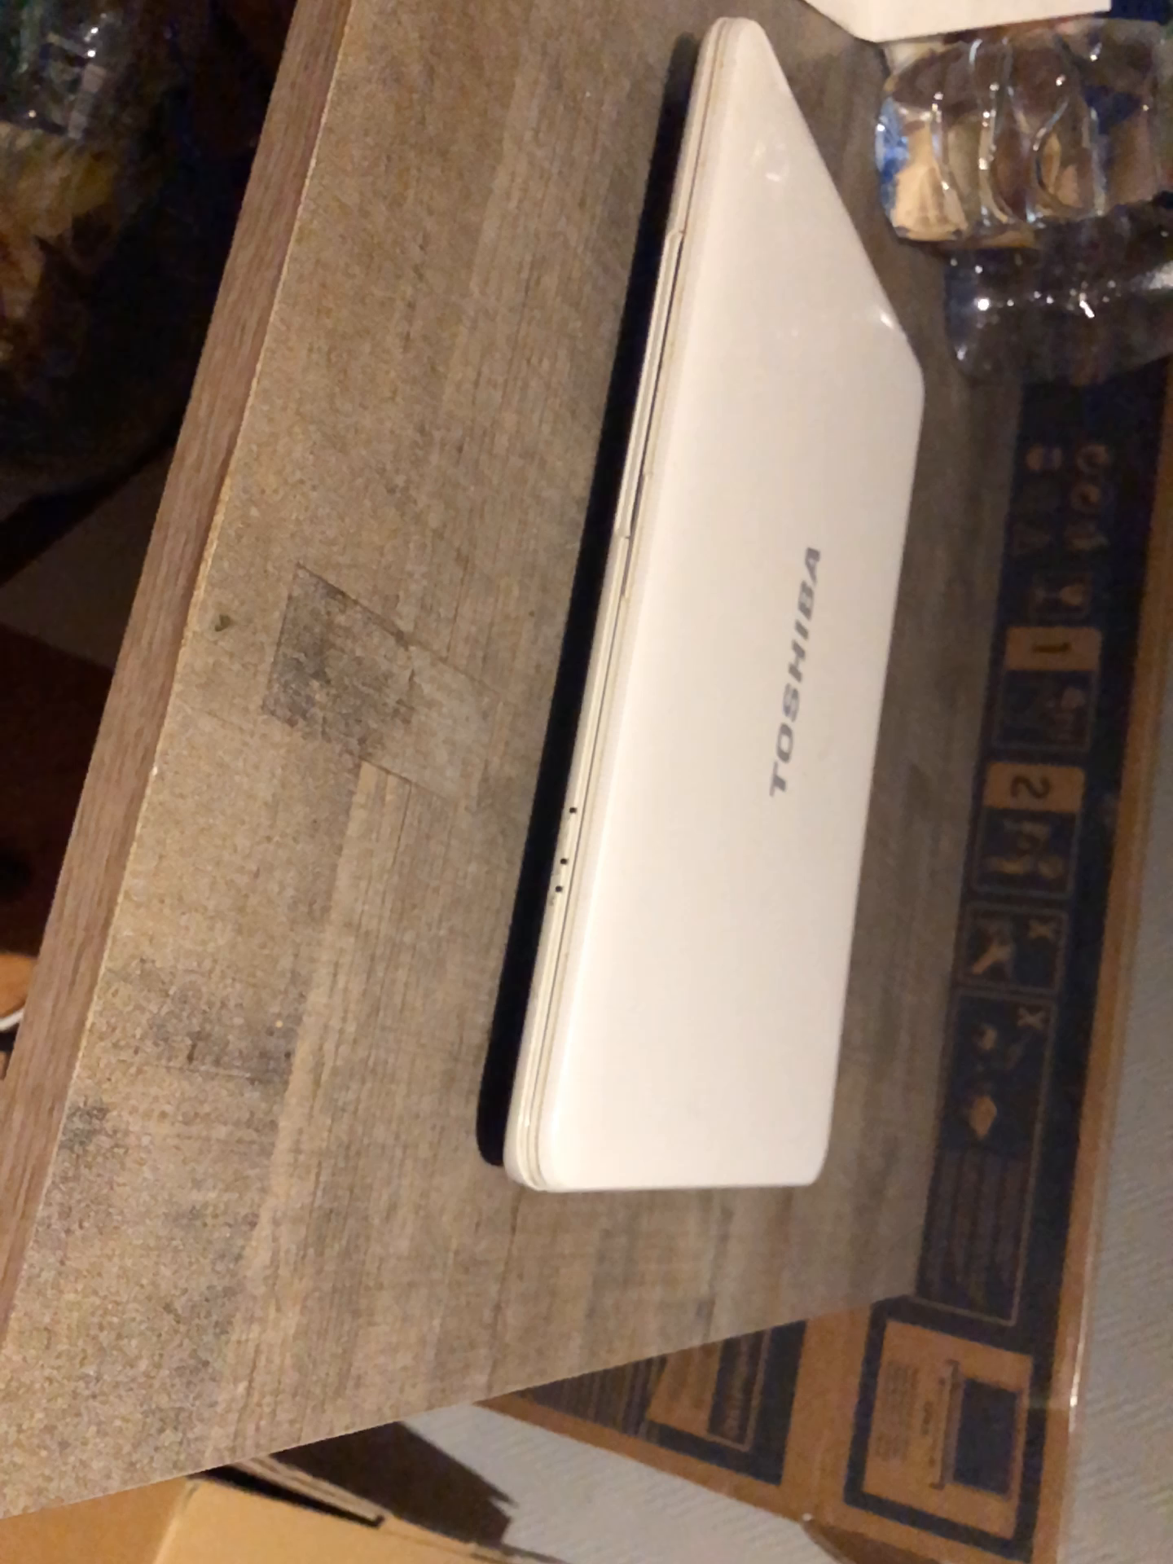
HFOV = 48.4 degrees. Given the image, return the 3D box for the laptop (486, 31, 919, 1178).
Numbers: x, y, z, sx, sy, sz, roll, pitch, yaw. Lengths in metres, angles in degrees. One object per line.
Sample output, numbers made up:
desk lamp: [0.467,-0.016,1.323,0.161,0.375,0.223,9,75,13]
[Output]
laptop: [0.066,-0.044,0.499,0.229,0.020,0.375,29,67,-57]
